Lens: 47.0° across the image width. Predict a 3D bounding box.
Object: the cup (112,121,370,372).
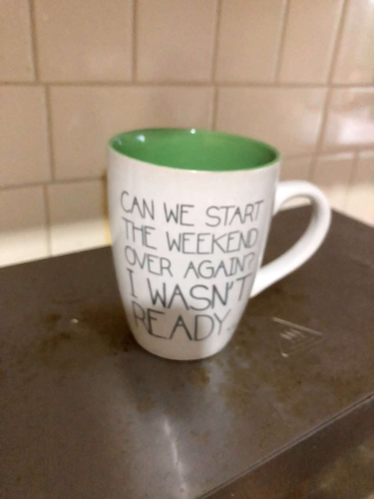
[{"bbox_3d":[0.017,-0.005,0.233,0.110,0.110,0.070,-1,26,-10],"label":"cup"}]
